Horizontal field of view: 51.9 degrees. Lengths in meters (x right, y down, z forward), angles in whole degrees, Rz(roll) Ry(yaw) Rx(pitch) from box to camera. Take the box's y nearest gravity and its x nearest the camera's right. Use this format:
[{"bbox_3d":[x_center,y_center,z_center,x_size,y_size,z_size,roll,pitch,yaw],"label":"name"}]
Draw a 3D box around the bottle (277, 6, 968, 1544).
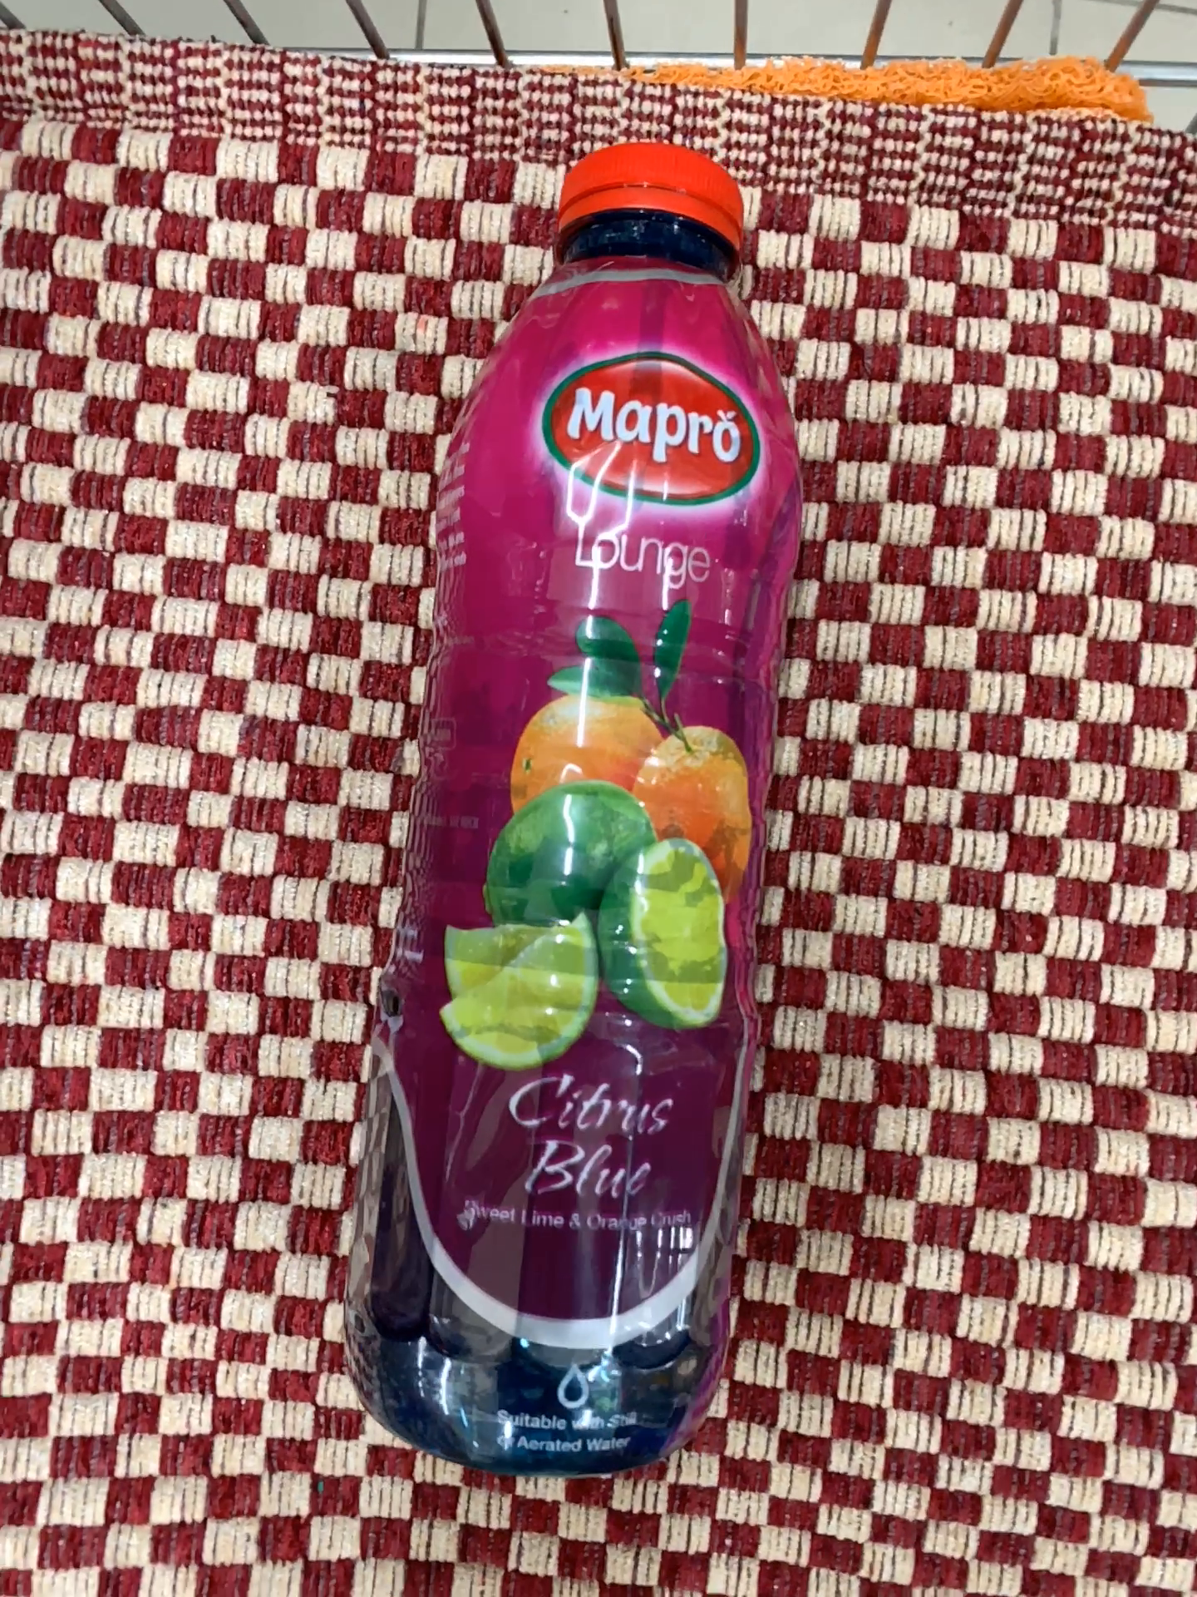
[{"bbox_3d":[-0.001,0.003,0.241,0.090,0.070,0.250,6,93,-10],"label":"bottle"}]
